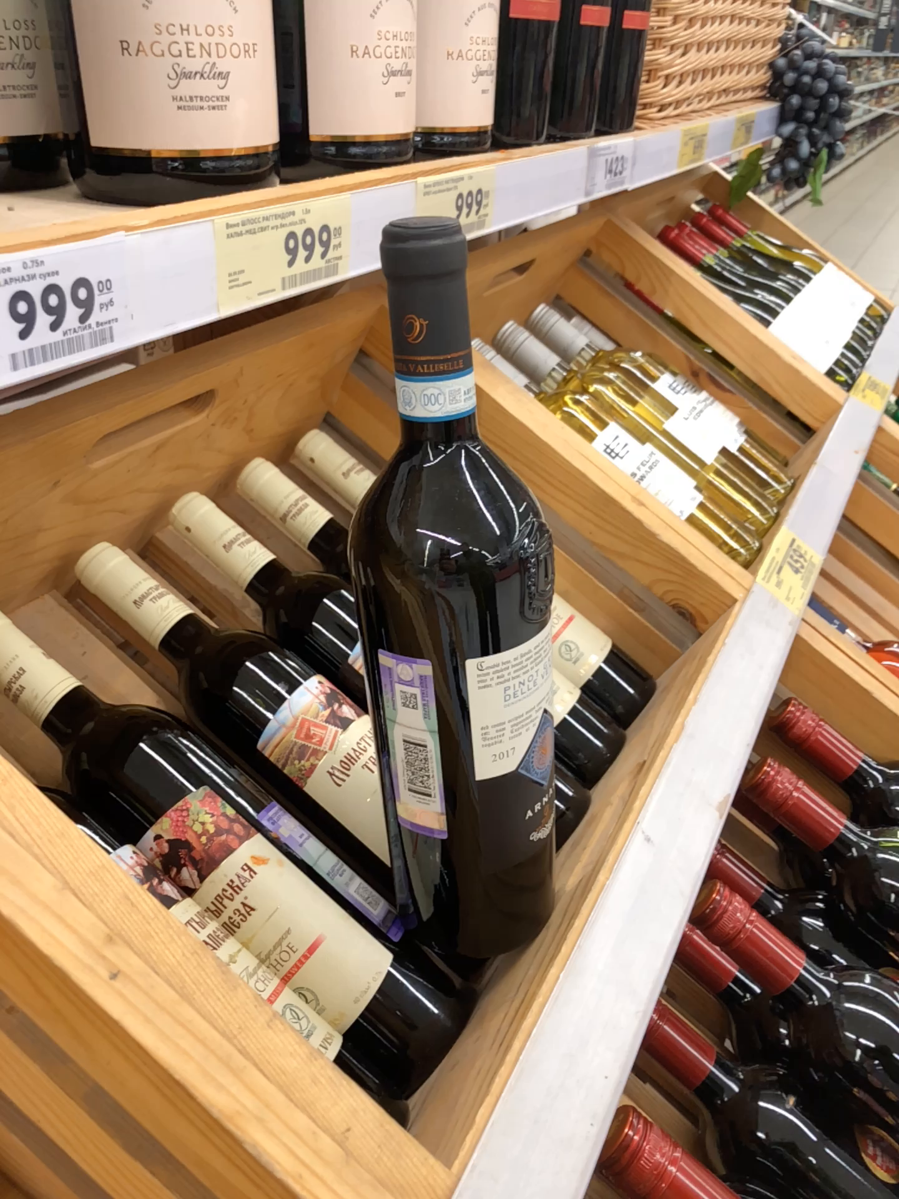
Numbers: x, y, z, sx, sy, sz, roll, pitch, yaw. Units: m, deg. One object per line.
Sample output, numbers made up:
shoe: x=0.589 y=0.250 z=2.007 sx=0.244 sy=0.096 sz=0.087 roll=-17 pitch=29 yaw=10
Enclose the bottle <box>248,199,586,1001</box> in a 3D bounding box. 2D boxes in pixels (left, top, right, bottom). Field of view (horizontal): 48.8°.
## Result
bottle: x=0.001 y=0.008 z=0.419 sx=0.080 sy=0.318 sz=0.090 roll=9 pitch=29 yaw=27
